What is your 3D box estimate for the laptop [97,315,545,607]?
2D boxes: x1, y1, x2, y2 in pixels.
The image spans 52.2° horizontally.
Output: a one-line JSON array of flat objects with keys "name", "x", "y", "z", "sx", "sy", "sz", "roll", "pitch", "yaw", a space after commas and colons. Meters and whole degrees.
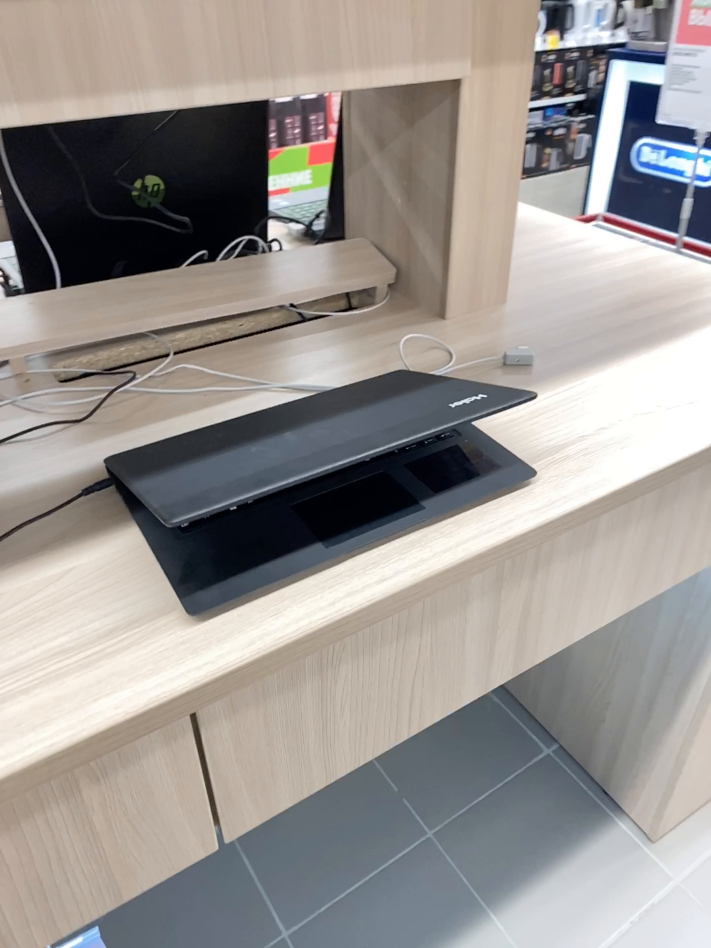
[{"name": "laptop", "x": -0.029, "y": -0.035, "z": 0.625, "sx": 0.319, "sy": 0.071, "sz": 0.202, "roll": -19, "pitch": 39, "yaw": -25}]
